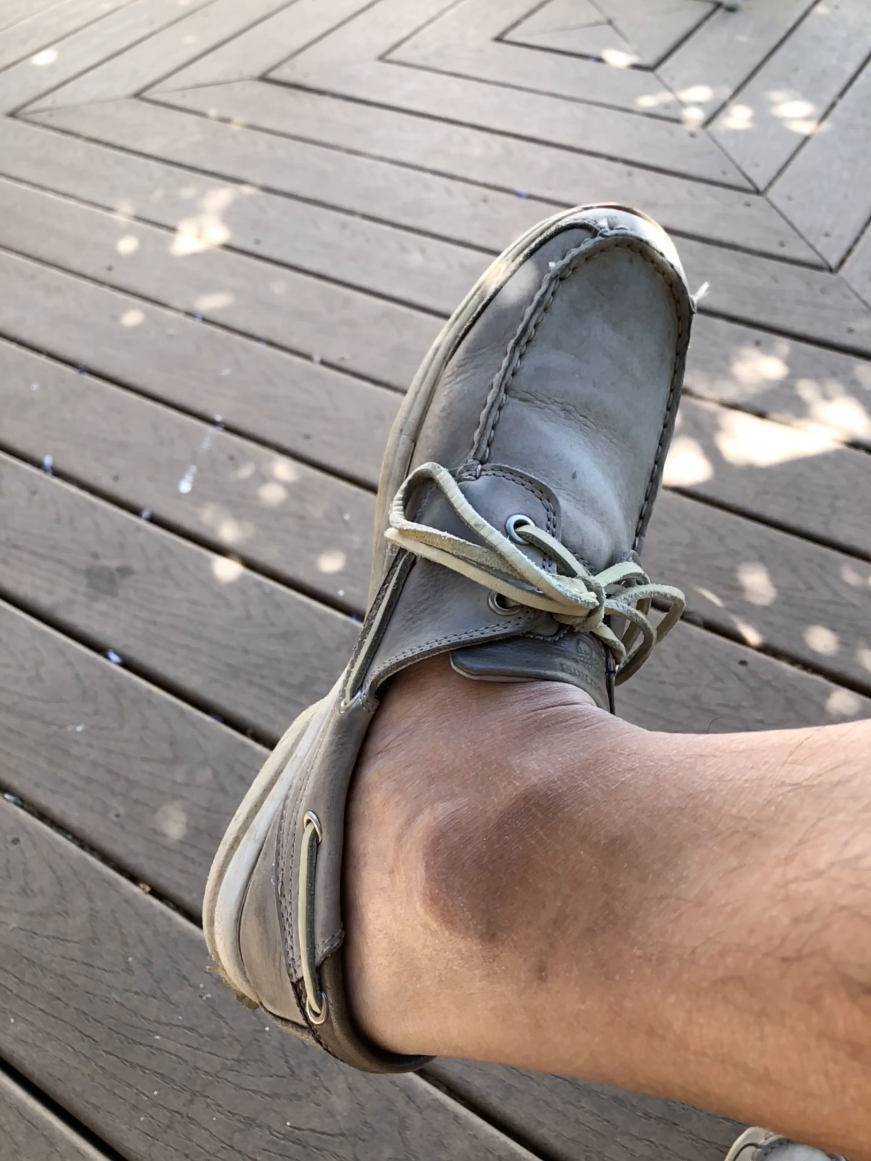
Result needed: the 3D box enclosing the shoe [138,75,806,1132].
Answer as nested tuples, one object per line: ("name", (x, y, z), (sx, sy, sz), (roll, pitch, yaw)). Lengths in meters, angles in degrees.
("shoe", (0.026, 0.004, 0.349), (0.083, 0.116, 0.326), (2, 68, 52))
